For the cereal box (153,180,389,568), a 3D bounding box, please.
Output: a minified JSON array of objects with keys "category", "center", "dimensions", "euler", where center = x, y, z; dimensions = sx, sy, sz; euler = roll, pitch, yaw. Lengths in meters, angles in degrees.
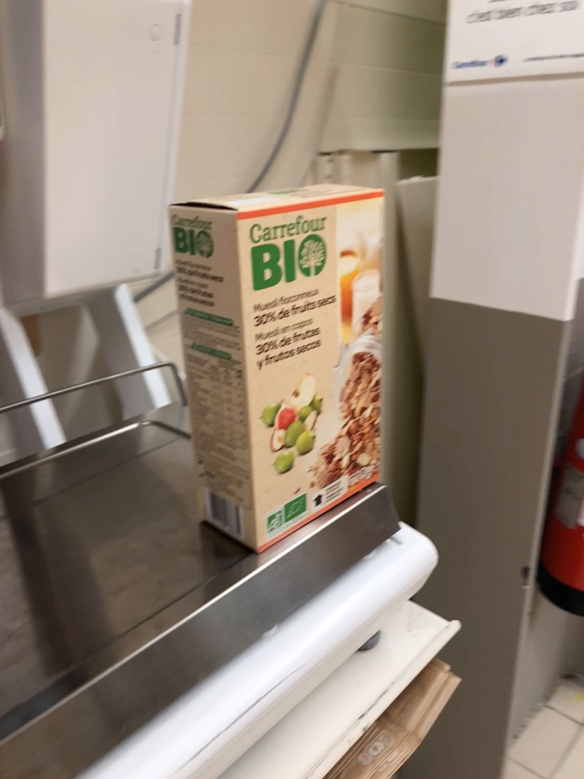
[{"category":"cereal box","center":[-0.006,-0.016,0.410],"dimensions":[0.060,0.209,0.131],"euler":[20,30,41]}]
